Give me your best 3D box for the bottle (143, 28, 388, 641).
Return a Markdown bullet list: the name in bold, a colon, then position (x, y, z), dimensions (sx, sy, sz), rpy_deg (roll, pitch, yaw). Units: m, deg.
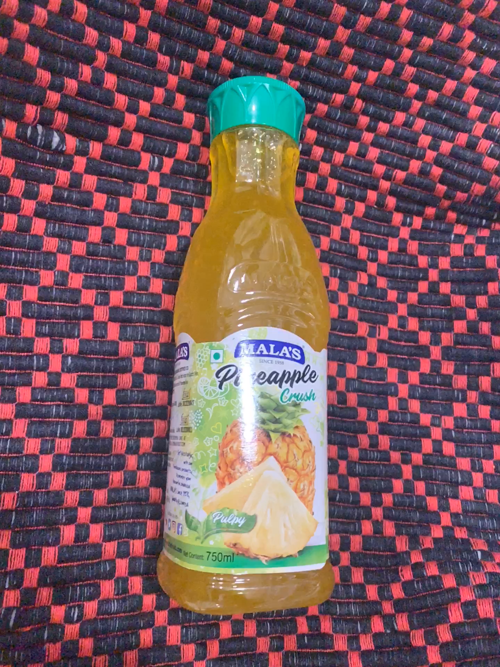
- **bottle**: position (0.004, -0.003, 0.237), dimensions (0.080, 0.070, 0.230), rpy_deg (5, 78, -21)
